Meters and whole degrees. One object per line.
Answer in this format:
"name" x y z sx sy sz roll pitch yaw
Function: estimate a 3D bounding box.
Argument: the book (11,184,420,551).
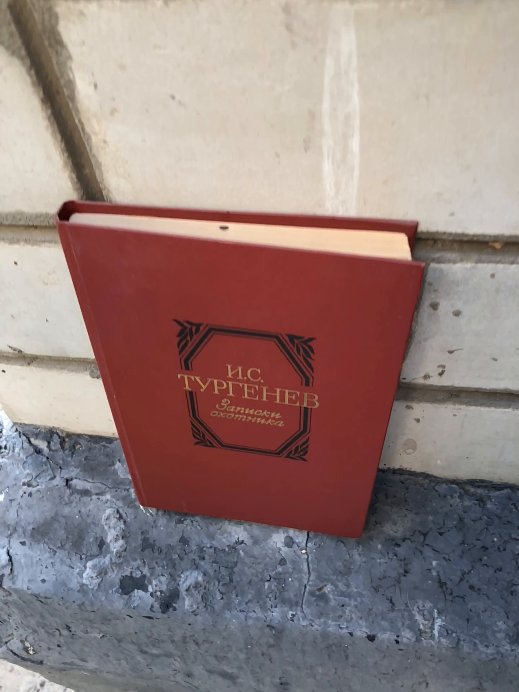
"book" -0.012 0.026 0.279 0.147 0.205 0.026 7 45 12
